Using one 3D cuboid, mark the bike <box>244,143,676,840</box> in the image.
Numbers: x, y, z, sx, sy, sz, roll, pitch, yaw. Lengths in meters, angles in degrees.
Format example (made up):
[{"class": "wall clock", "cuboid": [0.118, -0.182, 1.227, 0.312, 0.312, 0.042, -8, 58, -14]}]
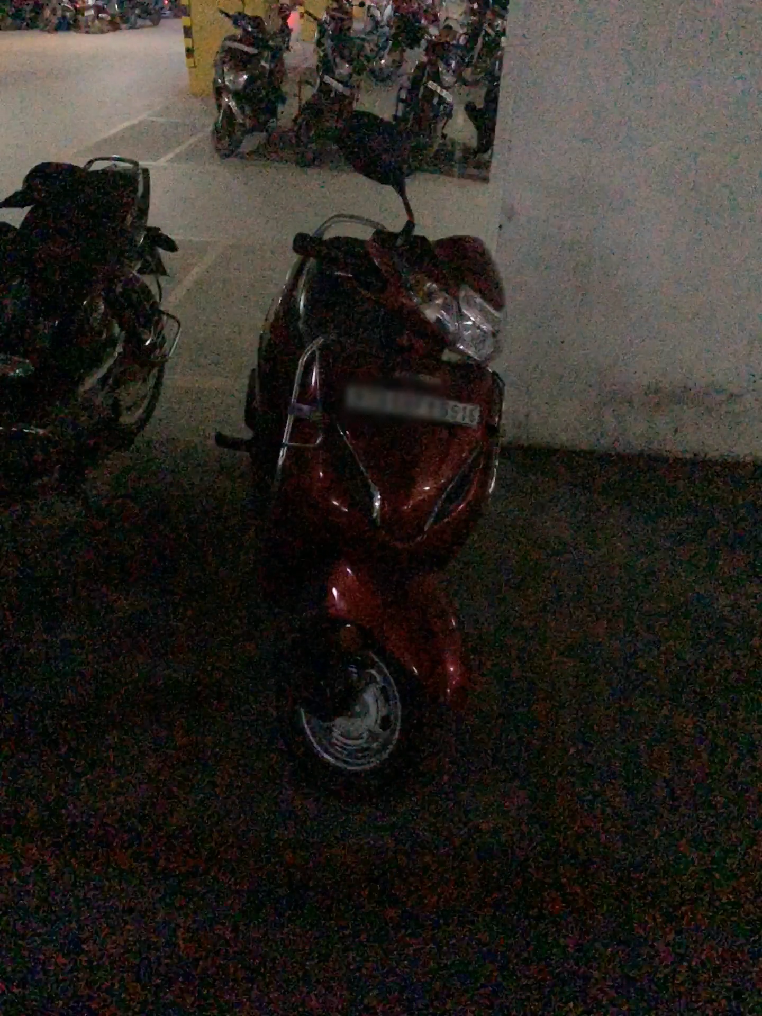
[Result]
[{"class": "bike", "cuboid": [0.050, -0.146, 1.994, 0.487, 0.909, 1.396, -9, 45, -15]}]
